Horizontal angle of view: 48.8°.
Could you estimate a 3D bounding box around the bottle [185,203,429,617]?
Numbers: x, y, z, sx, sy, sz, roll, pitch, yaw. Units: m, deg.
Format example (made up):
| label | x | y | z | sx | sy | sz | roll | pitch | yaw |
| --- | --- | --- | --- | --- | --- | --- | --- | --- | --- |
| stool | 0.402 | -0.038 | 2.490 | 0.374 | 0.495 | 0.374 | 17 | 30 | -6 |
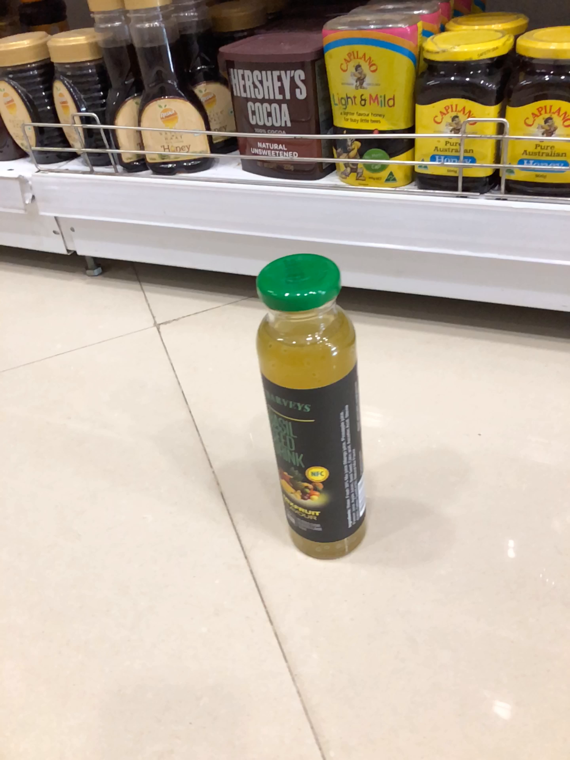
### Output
| label | x | y | z | sx | sy | sz | roll | pitch | yaw |
| --- | --- | --- | --- | --- | --- | --- | --- | --- | --- |
| bottle | 0.020 | 0.022 | 0.333 | 0.080 | 0.199 | 0.070 | 27 | 50 | 37 |
